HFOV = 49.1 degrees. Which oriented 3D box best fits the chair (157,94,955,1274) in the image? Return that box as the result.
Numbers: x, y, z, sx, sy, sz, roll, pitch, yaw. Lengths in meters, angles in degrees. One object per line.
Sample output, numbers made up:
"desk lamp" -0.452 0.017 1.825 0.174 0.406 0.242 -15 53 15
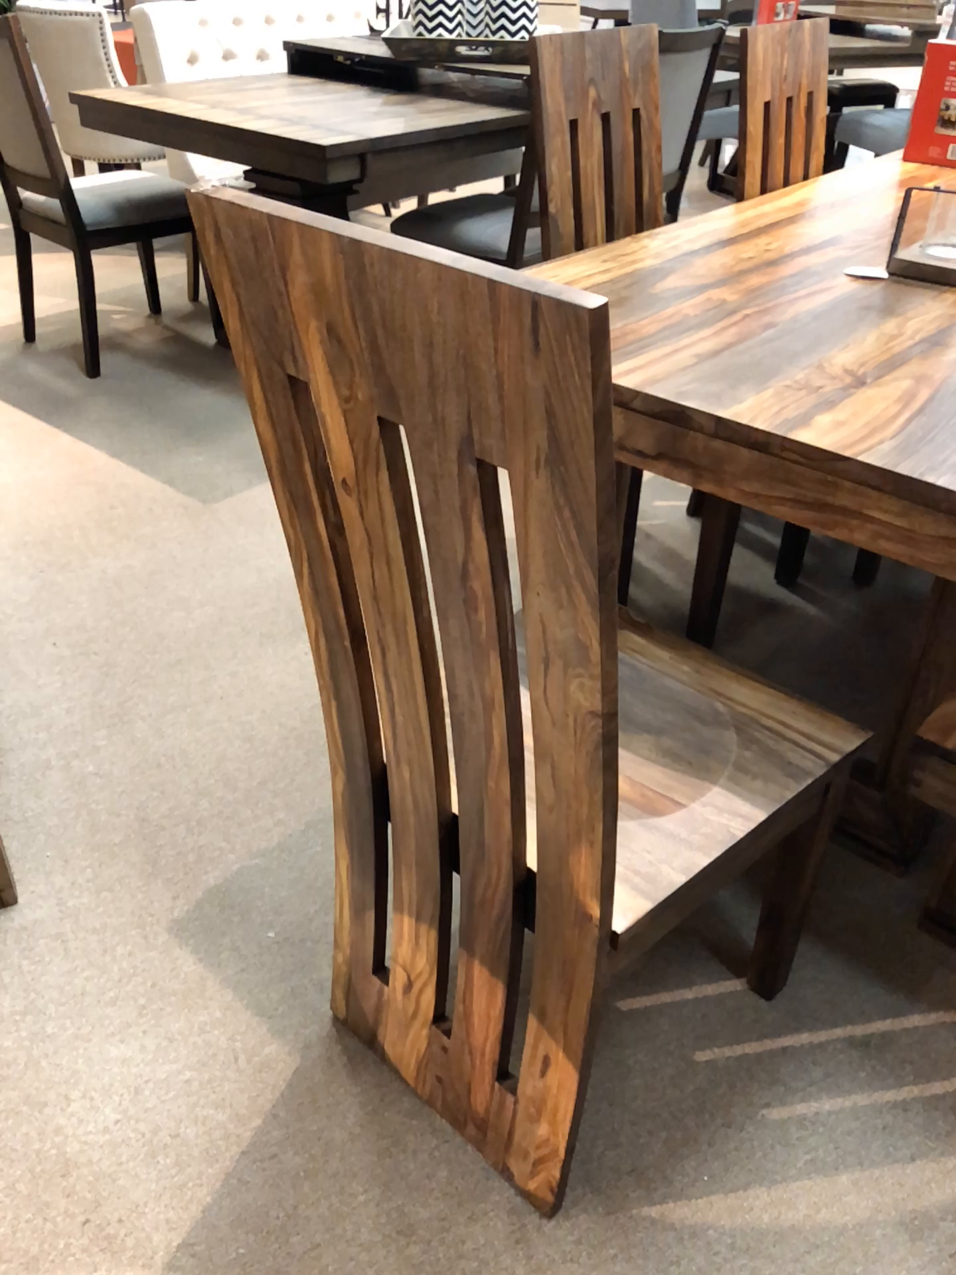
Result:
"chair" 0.122 0.039 1.133 0.512 1.023 0.592 30 43 34
